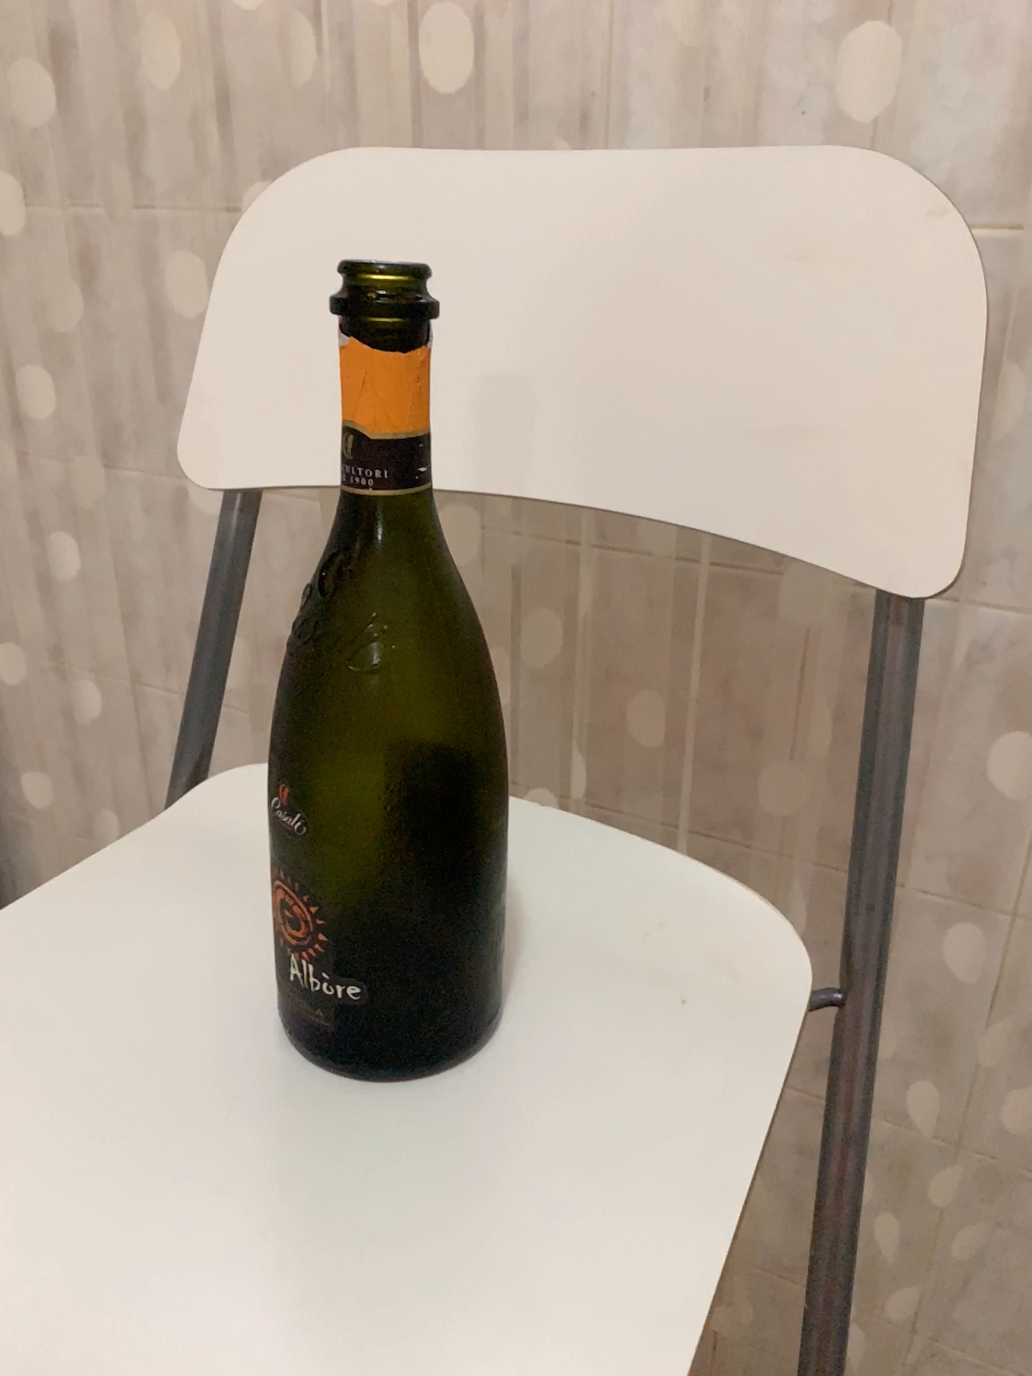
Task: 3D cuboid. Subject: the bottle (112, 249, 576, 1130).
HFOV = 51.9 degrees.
[{"bbox_3d":[-0.052,-0.002,0.364,0.092,0.269,0.101,0,25,0],"label":"bottle"}]
